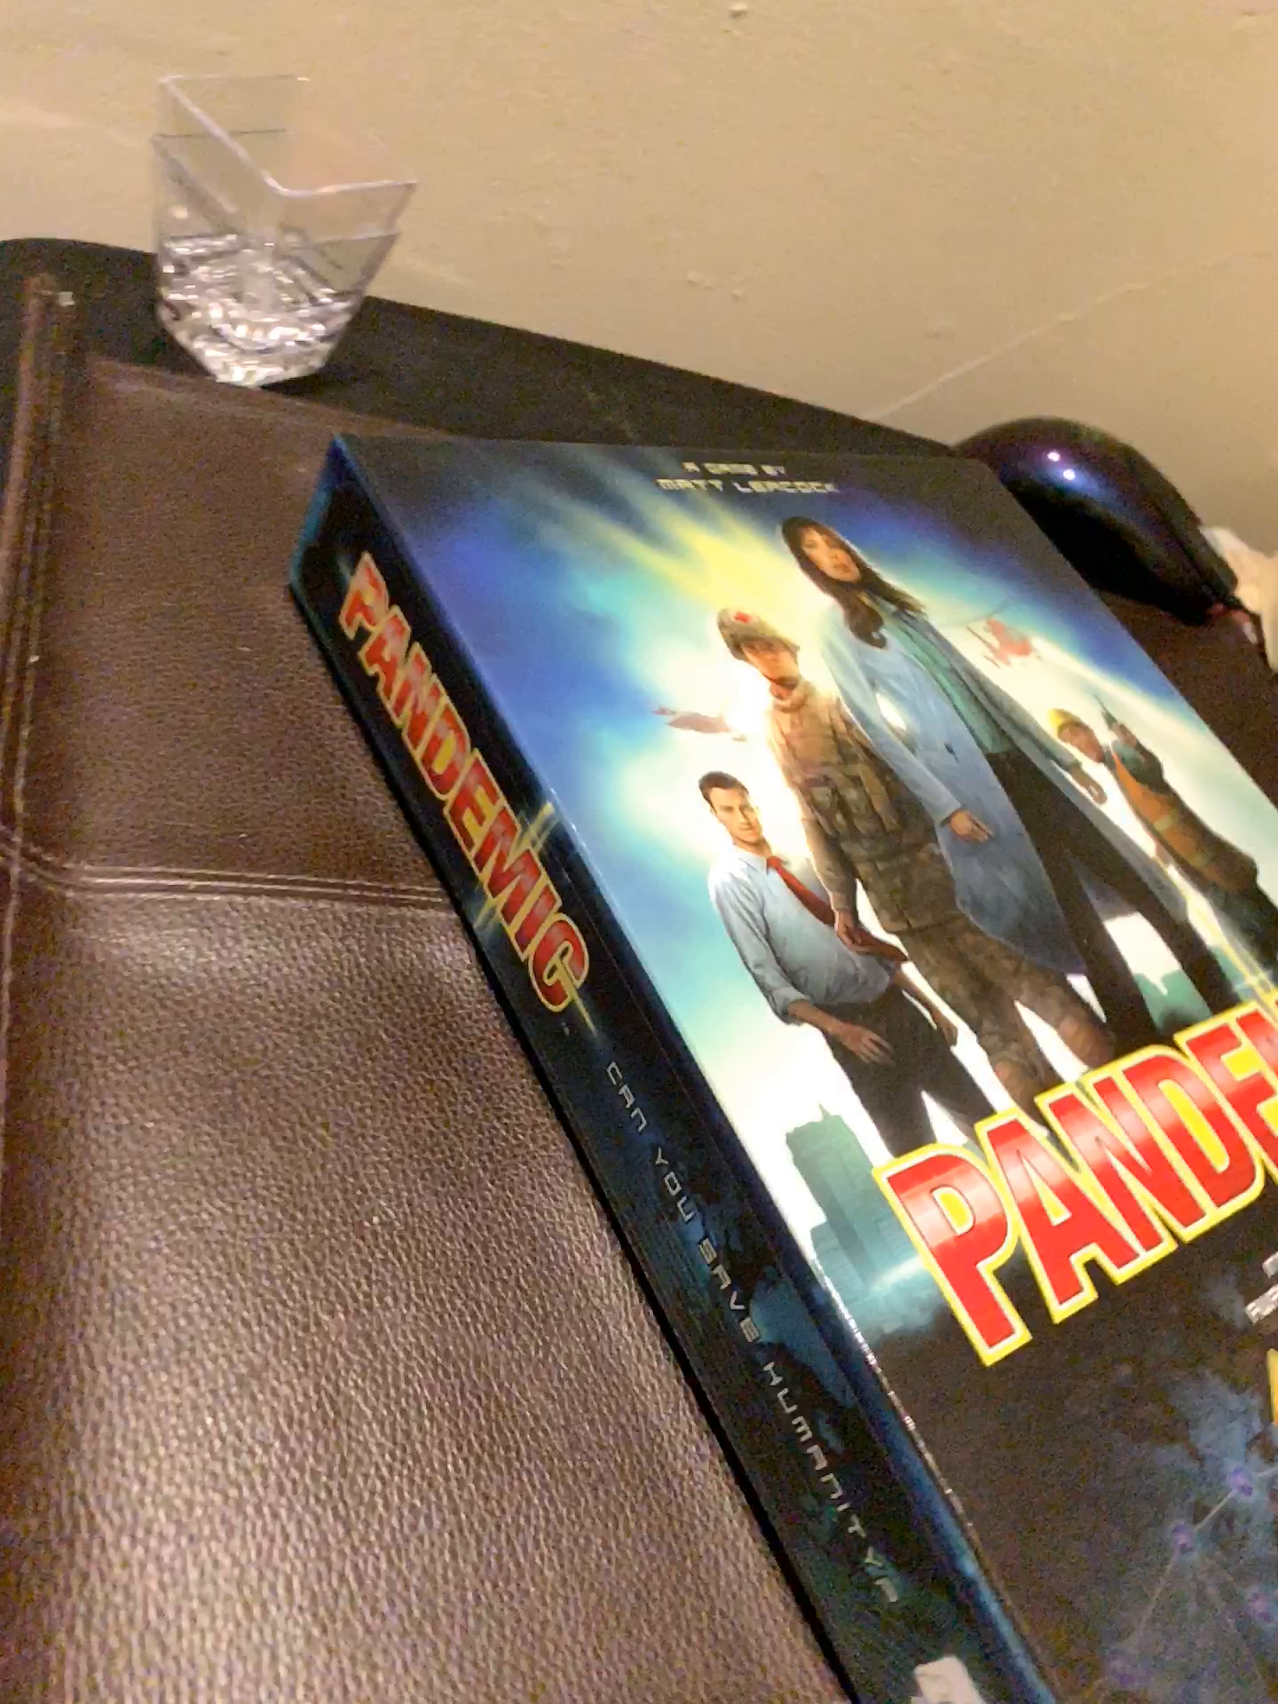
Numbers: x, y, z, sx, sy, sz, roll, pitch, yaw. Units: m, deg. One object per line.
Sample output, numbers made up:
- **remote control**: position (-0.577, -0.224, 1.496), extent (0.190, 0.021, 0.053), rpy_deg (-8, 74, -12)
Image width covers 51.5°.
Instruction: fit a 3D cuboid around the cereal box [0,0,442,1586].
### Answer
- **cereal box**: position (-0.618, 0.025, 0.922), extent (0.510, 0.995, 0.472), rpy_deg (37, 44, 3)
